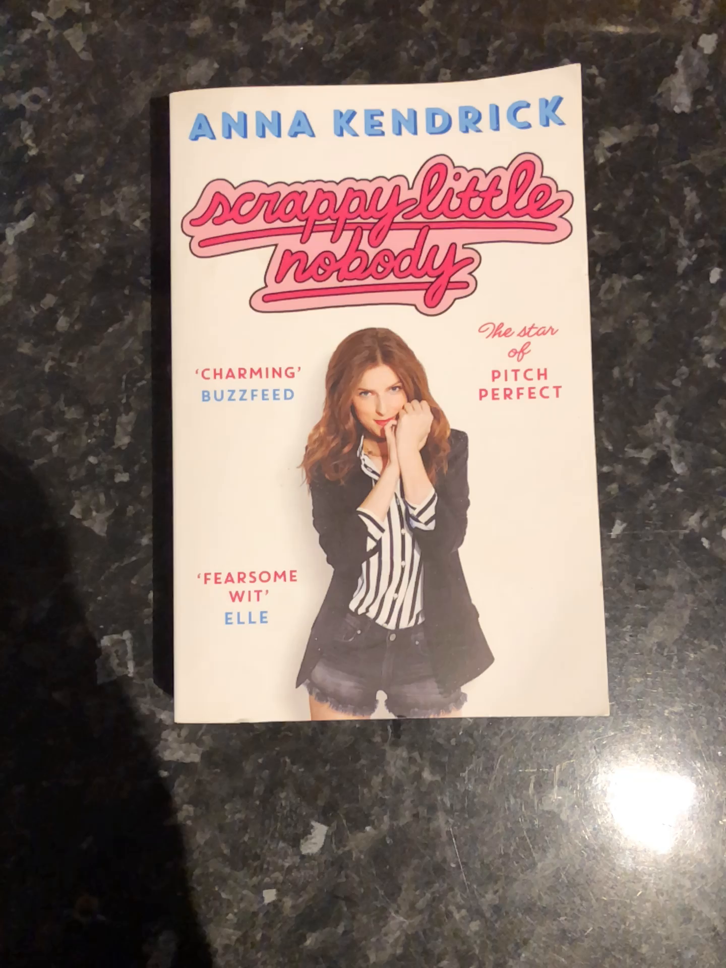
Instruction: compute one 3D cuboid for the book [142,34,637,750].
[{"bbox_3d":[0.005,-0.030,0.261,0.140,0.050,0.210,-1,85,-3],"label":"book"}]
